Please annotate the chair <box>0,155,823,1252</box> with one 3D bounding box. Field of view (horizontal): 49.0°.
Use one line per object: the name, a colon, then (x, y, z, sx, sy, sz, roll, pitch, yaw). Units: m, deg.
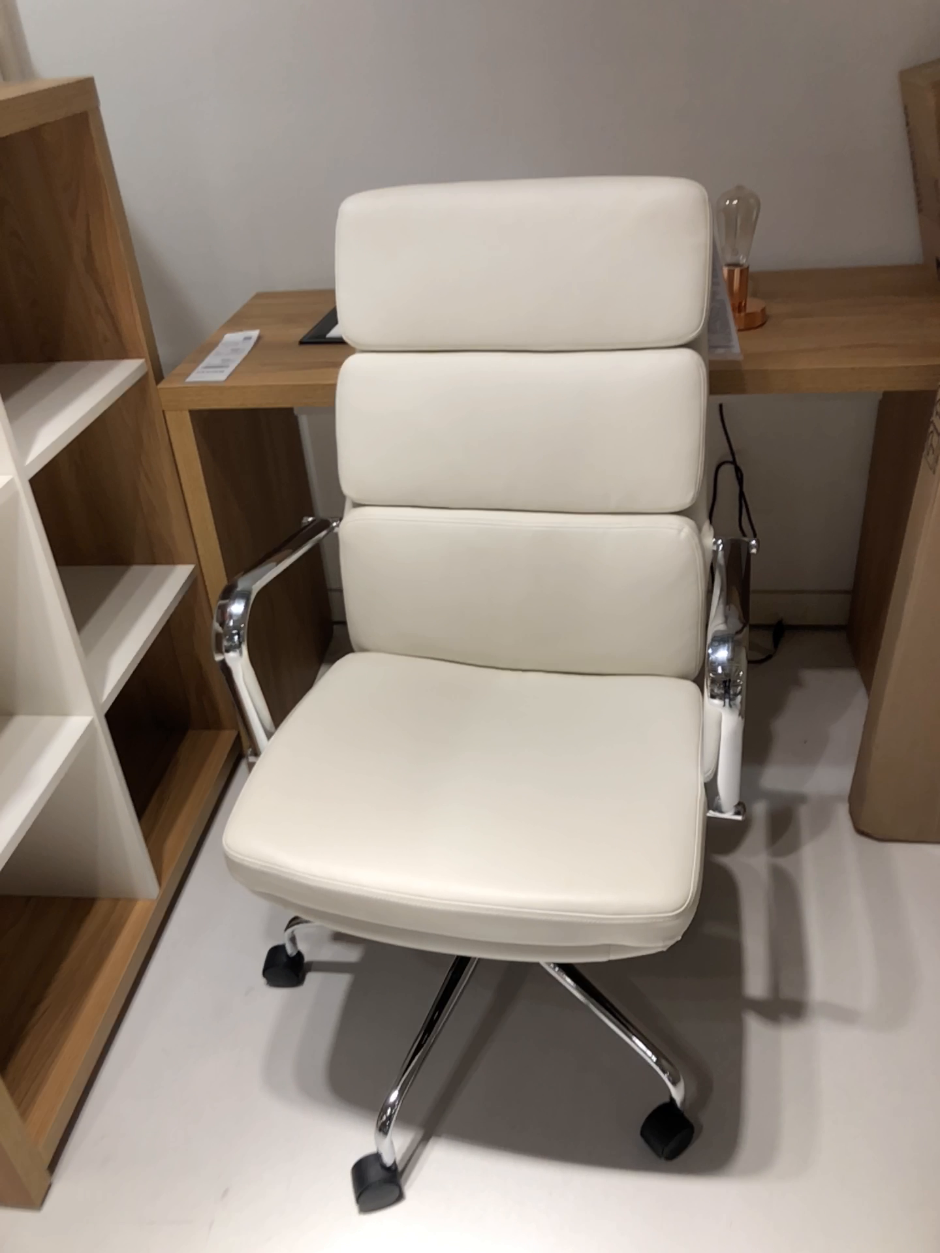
chair: (-0.014, 0.078, 1.218, 0.640, 1.033, 0.685, 2, 33, 10)
